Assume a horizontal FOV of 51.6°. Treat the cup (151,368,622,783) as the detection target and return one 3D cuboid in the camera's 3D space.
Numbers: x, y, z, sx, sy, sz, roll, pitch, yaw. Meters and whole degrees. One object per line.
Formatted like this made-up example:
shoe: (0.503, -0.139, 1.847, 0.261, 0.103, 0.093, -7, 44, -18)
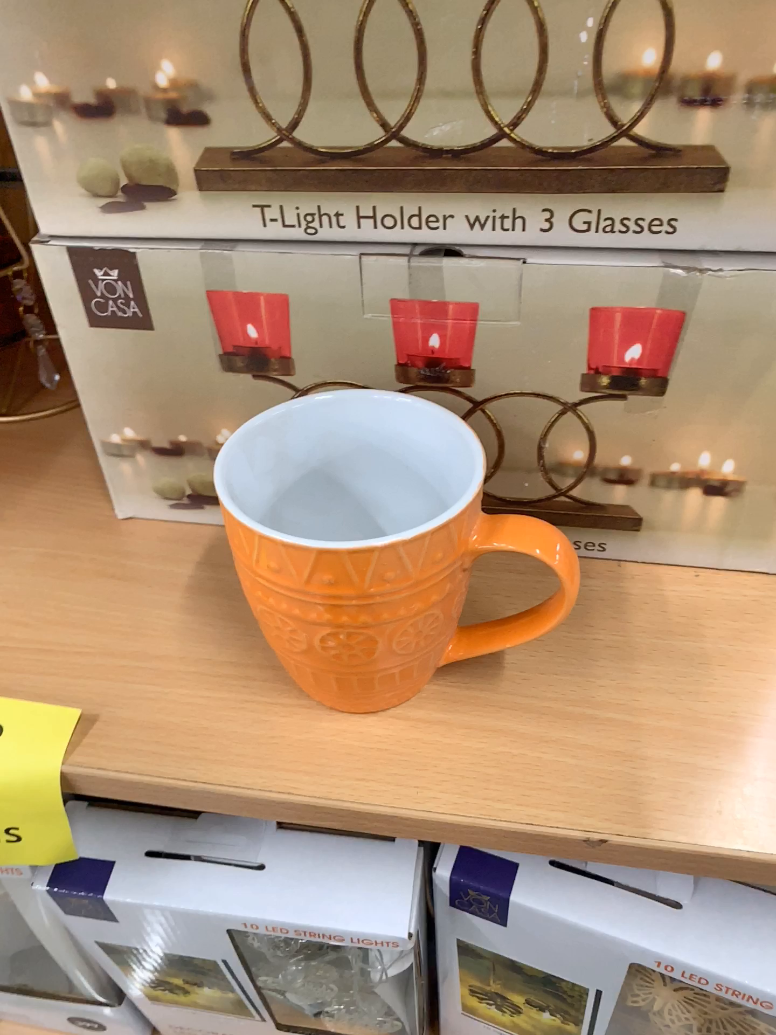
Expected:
cup: (0.005, 0.014, 0.260, 0.120, 0.080, 0.080, 10, 40, 14)
